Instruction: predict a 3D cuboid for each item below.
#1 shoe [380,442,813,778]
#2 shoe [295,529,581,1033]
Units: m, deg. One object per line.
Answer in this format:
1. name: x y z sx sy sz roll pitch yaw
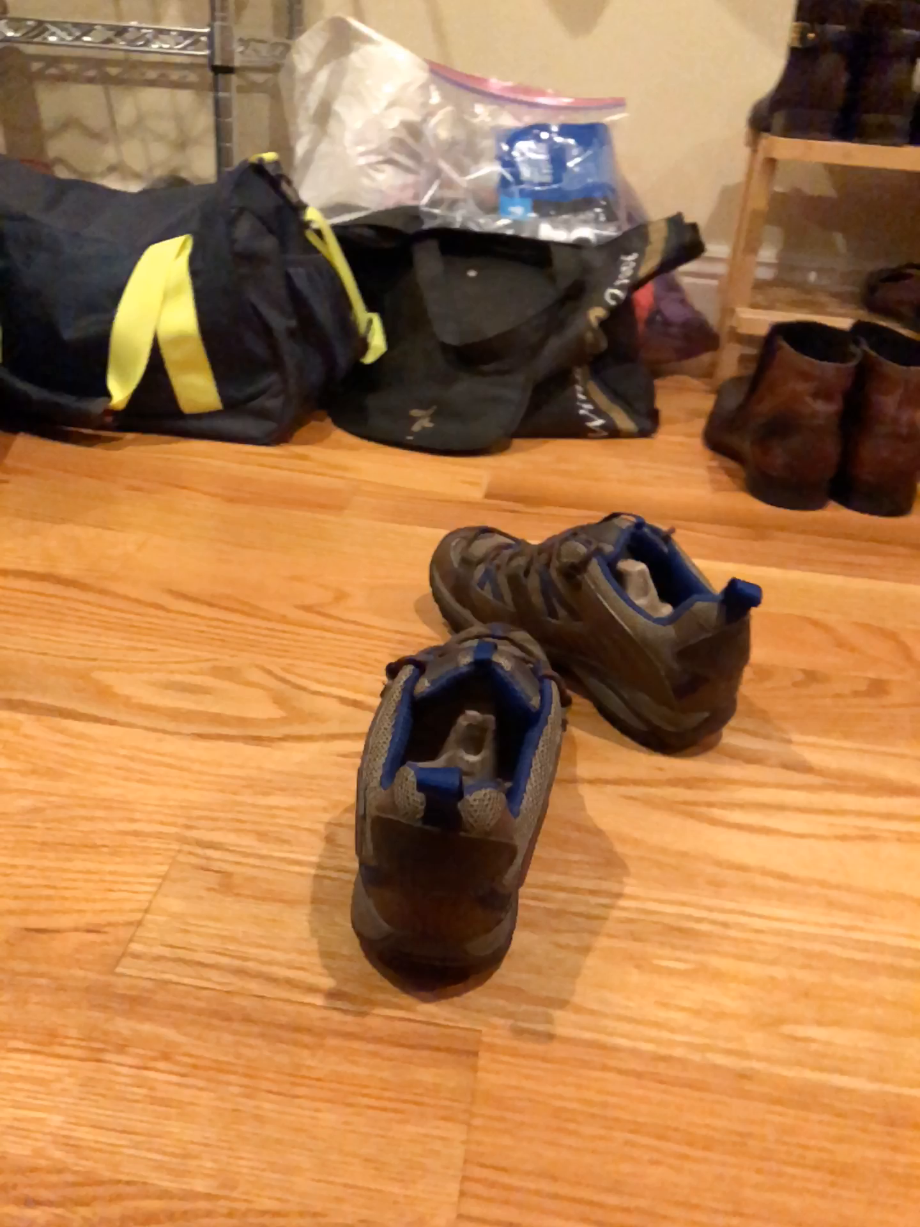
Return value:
1. shoe: 0.069 -0.017 0.625 0.097 0.094 0.252 -20 36 -39
2. shoe: 0.000 0.060 0.491 0.094 0.106 0.241 8 28 5
